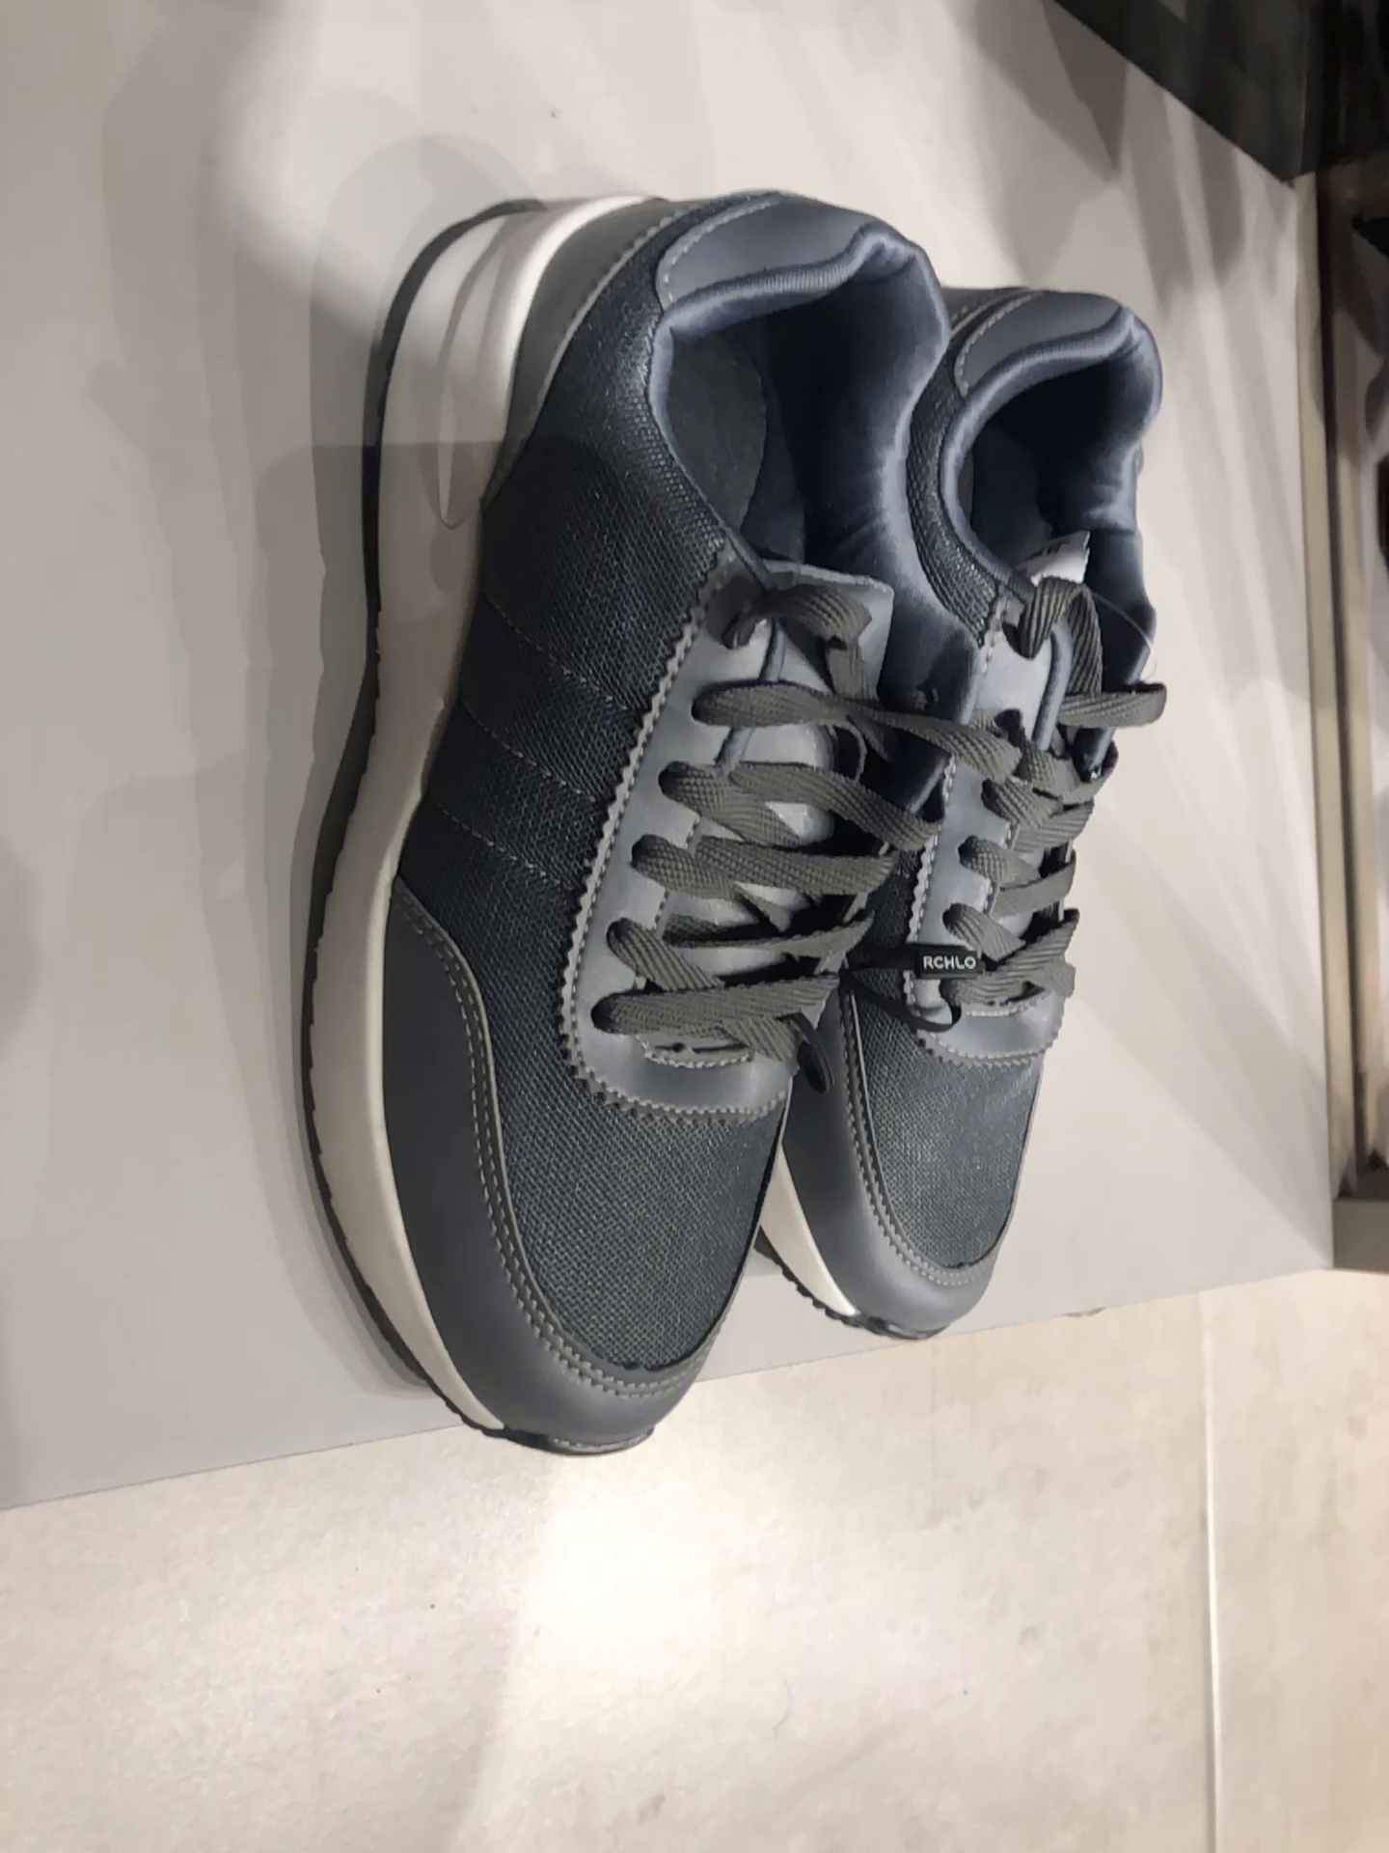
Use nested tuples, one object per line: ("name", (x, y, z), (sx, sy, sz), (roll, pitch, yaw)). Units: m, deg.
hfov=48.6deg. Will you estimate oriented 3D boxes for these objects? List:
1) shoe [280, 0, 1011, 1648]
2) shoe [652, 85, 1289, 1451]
("shoe", (-0.010, -0.021, 0.325), (0.111, 0.099, 0.280), (4, 84, -43))
("shoe", (0.068, -0.032, 0.387), (0.111, 0.099, 0.280), (1, 86, -43))
